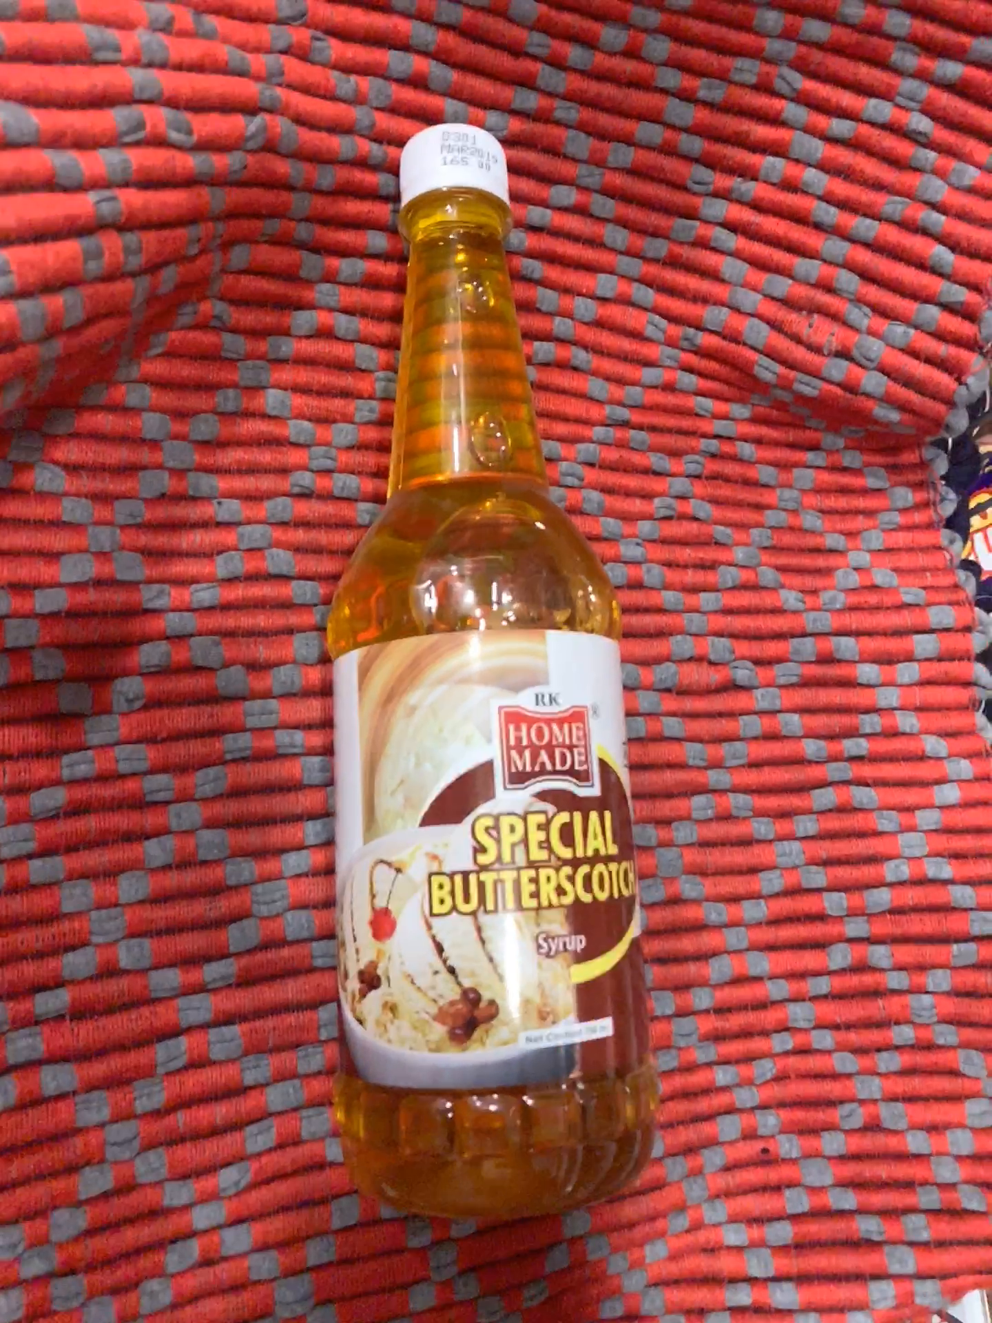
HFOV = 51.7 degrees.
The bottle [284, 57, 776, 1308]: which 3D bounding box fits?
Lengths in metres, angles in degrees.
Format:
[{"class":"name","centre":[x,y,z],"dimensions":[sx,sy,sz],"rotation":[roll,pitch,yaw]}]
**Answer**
[{"class":"bottle","centre":[-0.003,-0.007,0.247],"dimensions":[0.080,0.060,0.260],"rotation":[0,75,-19]}]
